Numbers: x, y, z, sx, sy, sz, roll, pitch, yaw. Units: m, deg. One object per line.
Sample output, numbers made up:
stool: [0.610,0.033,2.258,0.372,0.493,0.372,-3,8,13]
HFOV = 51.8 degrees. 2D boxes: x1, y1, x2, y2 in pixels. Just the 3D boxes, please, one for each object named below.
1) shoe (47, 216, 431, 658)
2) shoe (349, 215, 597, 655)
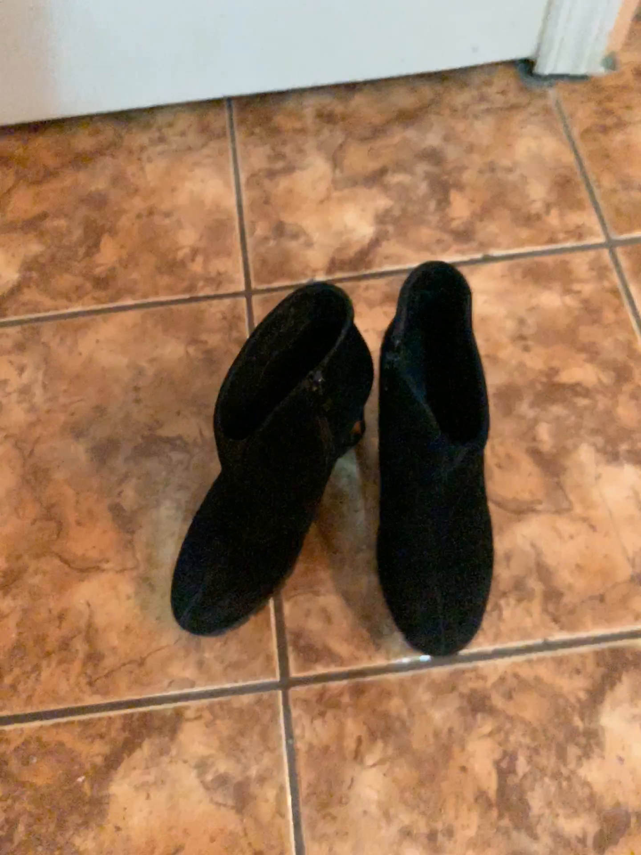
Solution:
shoe: [-0.032,0.017,0.443,0.094,0.180,0.230,30,70,16]
shoe: [0.078,0.016,0.436,0.094,0.180,0.230,-5,65,1]
